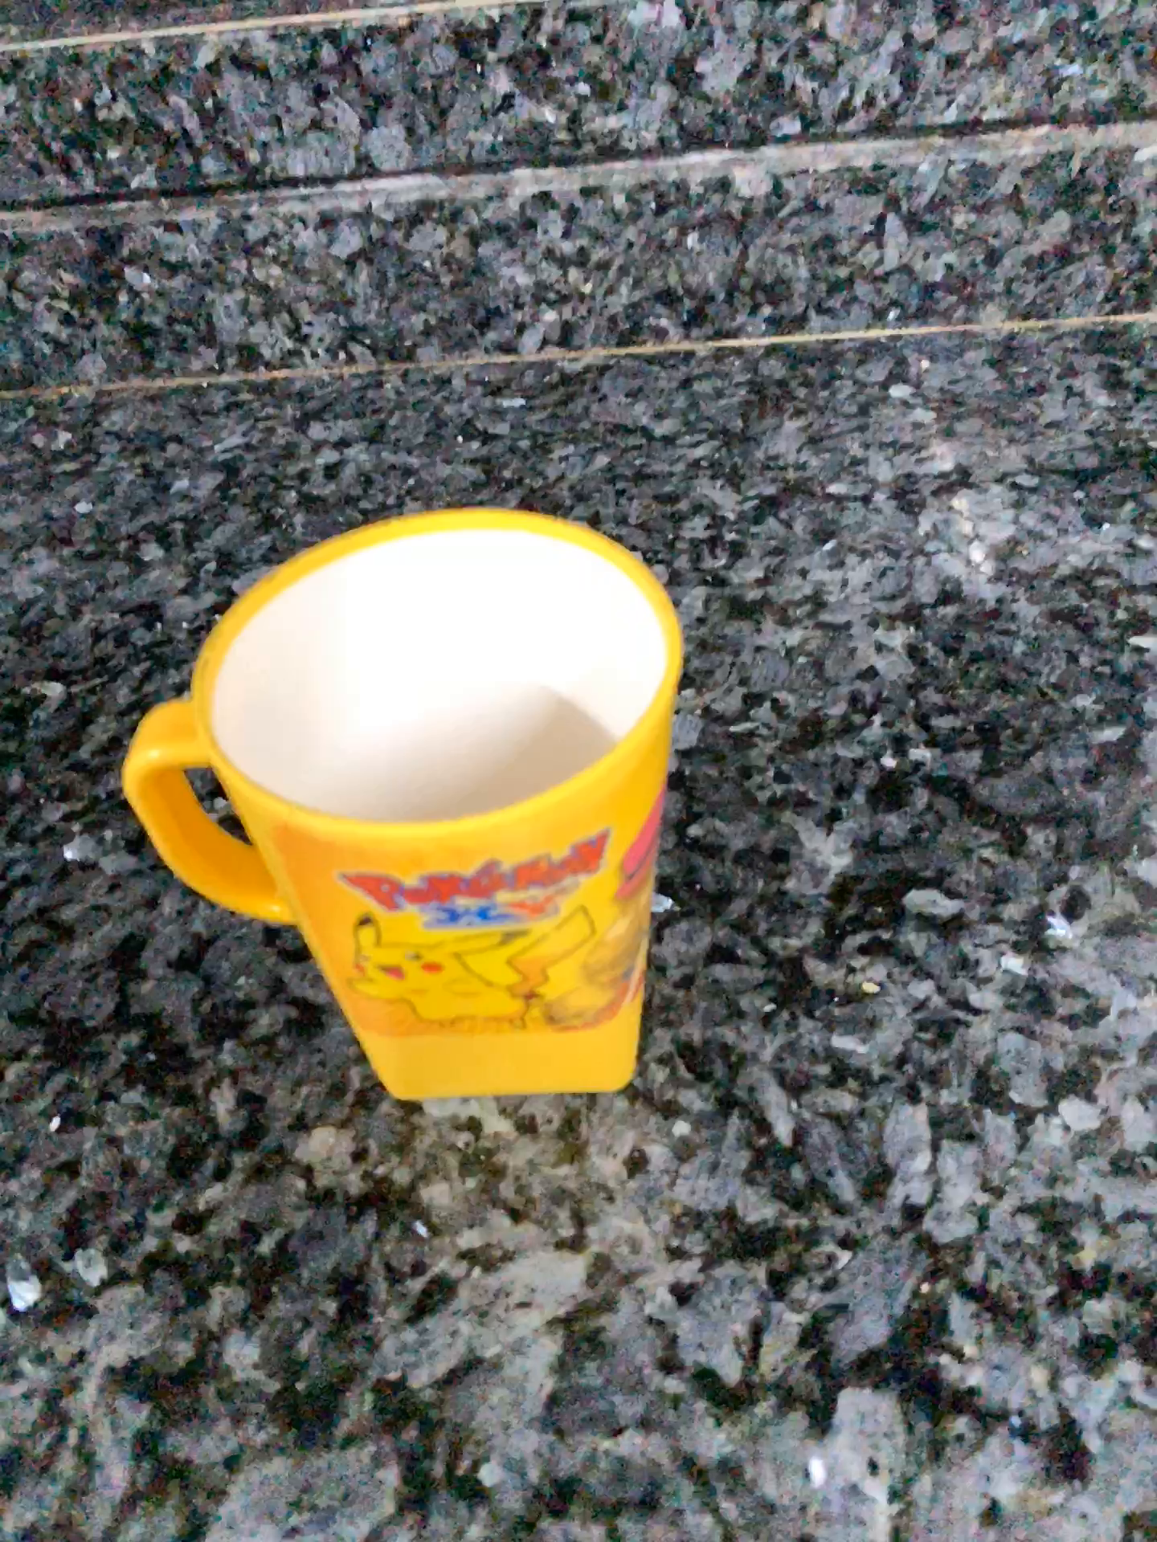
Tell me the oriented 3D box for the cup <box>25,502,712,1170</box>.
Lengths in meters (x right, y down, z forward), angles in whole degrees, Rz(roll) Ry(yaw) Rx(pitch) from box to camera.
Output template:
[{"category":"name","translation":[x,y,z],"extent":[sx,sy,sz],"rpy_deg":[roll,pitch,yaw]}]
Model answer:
[{"category":"cup","translation":[-0.028,0.018,0.236],"extent":[0.100,0.109,0.071],"rpy_deg":[-5,46,2]}]
